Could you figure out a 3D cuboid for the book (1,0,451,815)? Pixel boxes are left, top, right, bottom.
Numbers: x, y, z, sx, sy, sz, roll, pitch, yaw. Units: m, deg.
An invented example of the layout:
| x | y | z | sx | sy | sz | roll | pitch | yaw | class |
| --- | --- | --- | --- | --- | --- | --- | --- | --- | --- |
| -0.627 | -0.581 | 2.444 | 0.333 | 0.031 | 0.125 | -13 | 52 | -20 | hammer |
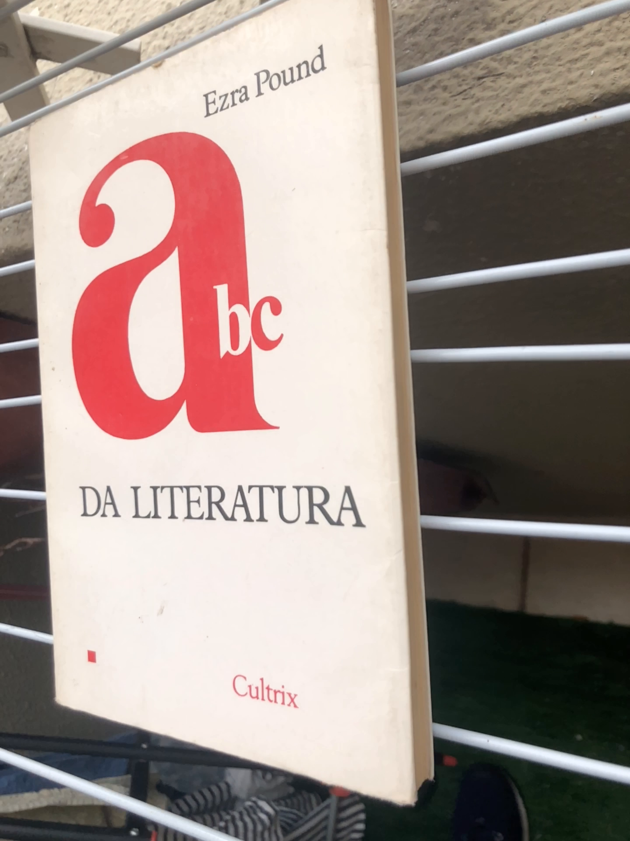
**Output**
| x | y | z | sx | sy | sz | roll | pitch | yaw | class |
| --- | --- | --- | --- | --- | --- | --- | --- | --- | --- |
| -0.036 | -0.005 | 0.200 | 0.140 | 0.017 | 0.187 | -4 | 89 | 34 | book |
